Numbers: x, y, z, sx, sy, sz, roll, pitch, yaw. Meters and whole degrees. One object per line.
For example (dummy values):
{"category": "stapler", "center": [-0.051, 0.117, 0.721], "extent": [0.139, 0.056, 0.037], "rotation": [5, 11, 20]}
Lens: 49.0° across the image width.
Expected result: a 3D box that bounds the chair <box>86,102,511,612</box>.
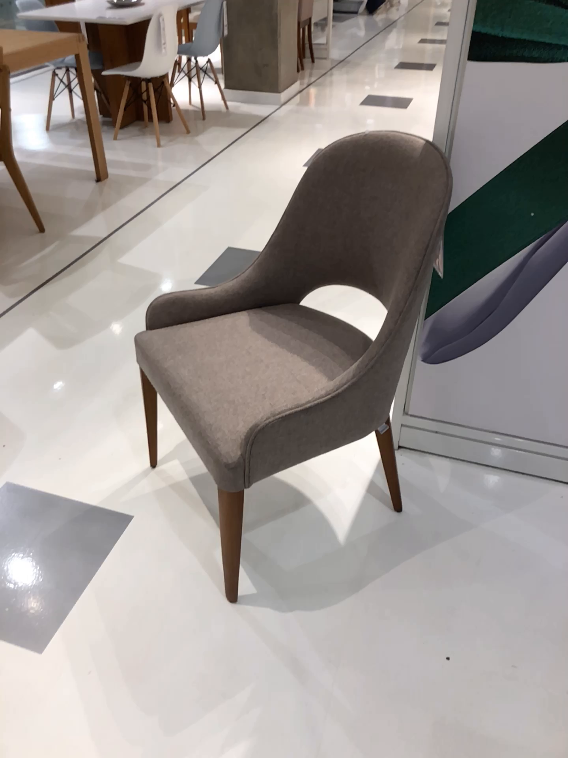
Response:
{"category": "chair", "center": [-0.001, -0.076, 1.455], "extent": [0.611, 0.893, 0.573], "rotation": [-18, 40, -23]}
